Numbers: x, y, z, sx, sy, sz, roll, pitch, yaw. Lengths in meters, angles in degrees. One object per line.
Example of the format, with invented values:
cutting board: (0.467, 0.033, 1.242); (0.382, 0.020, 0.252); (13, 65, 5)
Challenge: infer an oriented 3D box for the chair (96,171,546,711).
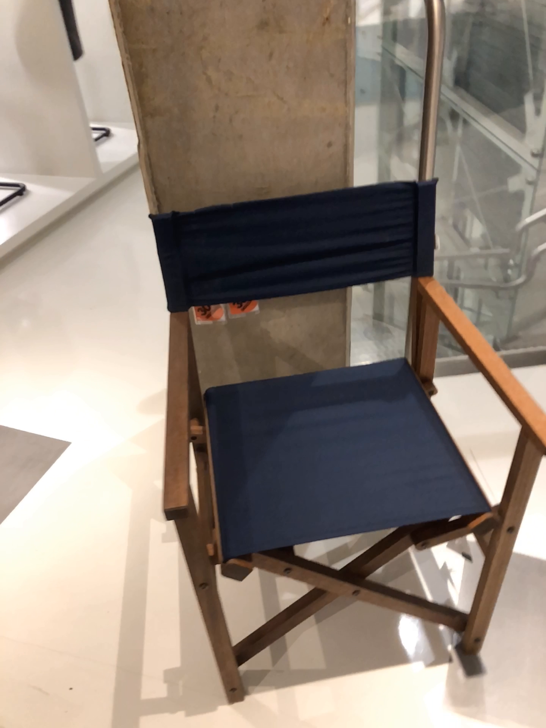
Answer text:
chair: (0.093, 0.149, 1.102); (0.580, 0.774, 0.504); (-8, 37, -3)
